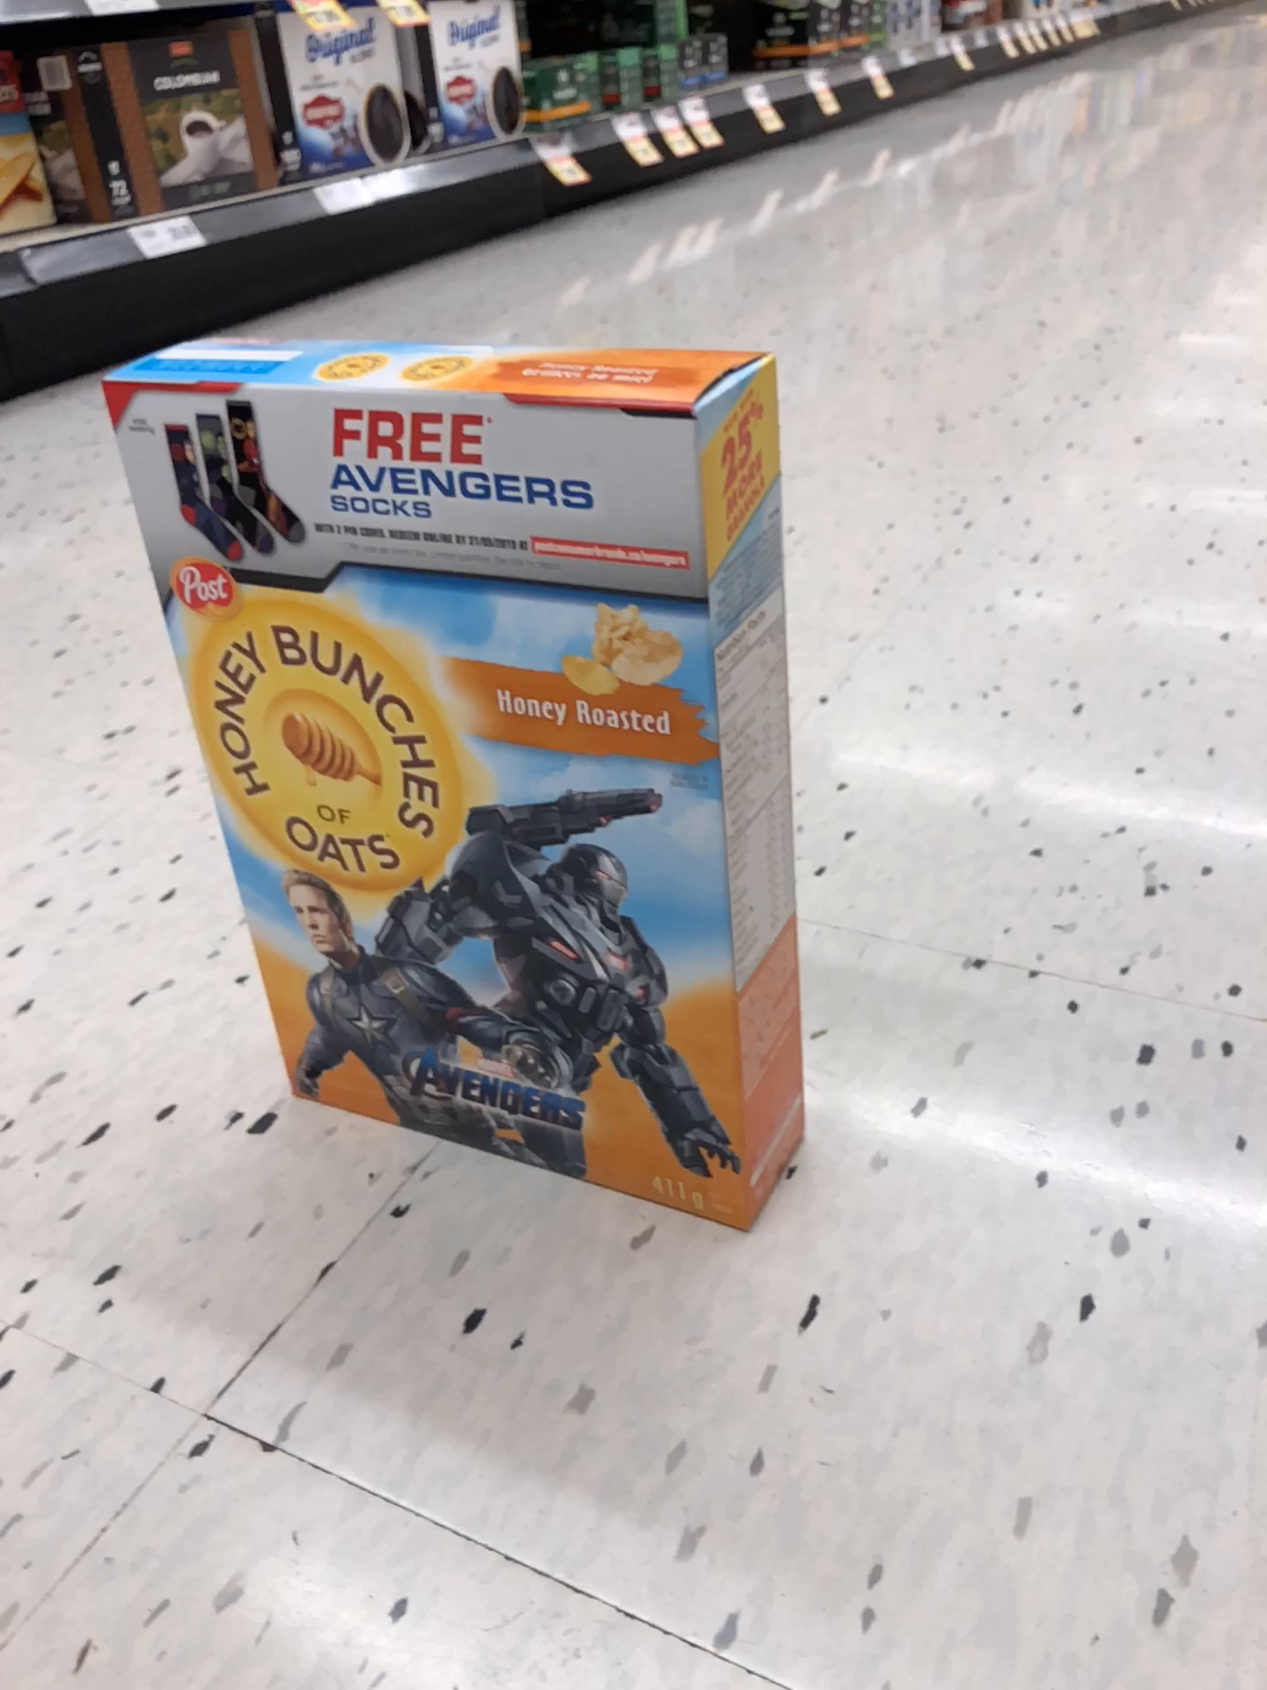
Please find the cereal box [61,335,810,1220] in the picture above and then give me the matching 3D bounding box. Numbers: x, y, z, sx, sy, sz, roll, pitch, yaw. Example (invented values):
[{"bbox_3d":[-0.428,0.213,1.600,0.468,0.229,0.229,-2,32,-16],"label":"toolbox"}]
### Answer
[{"bbox_3d":[-0.050,-0.021,0.450,0.200,0.258,0.060,10,34,24],"label":"cereal box"}]
